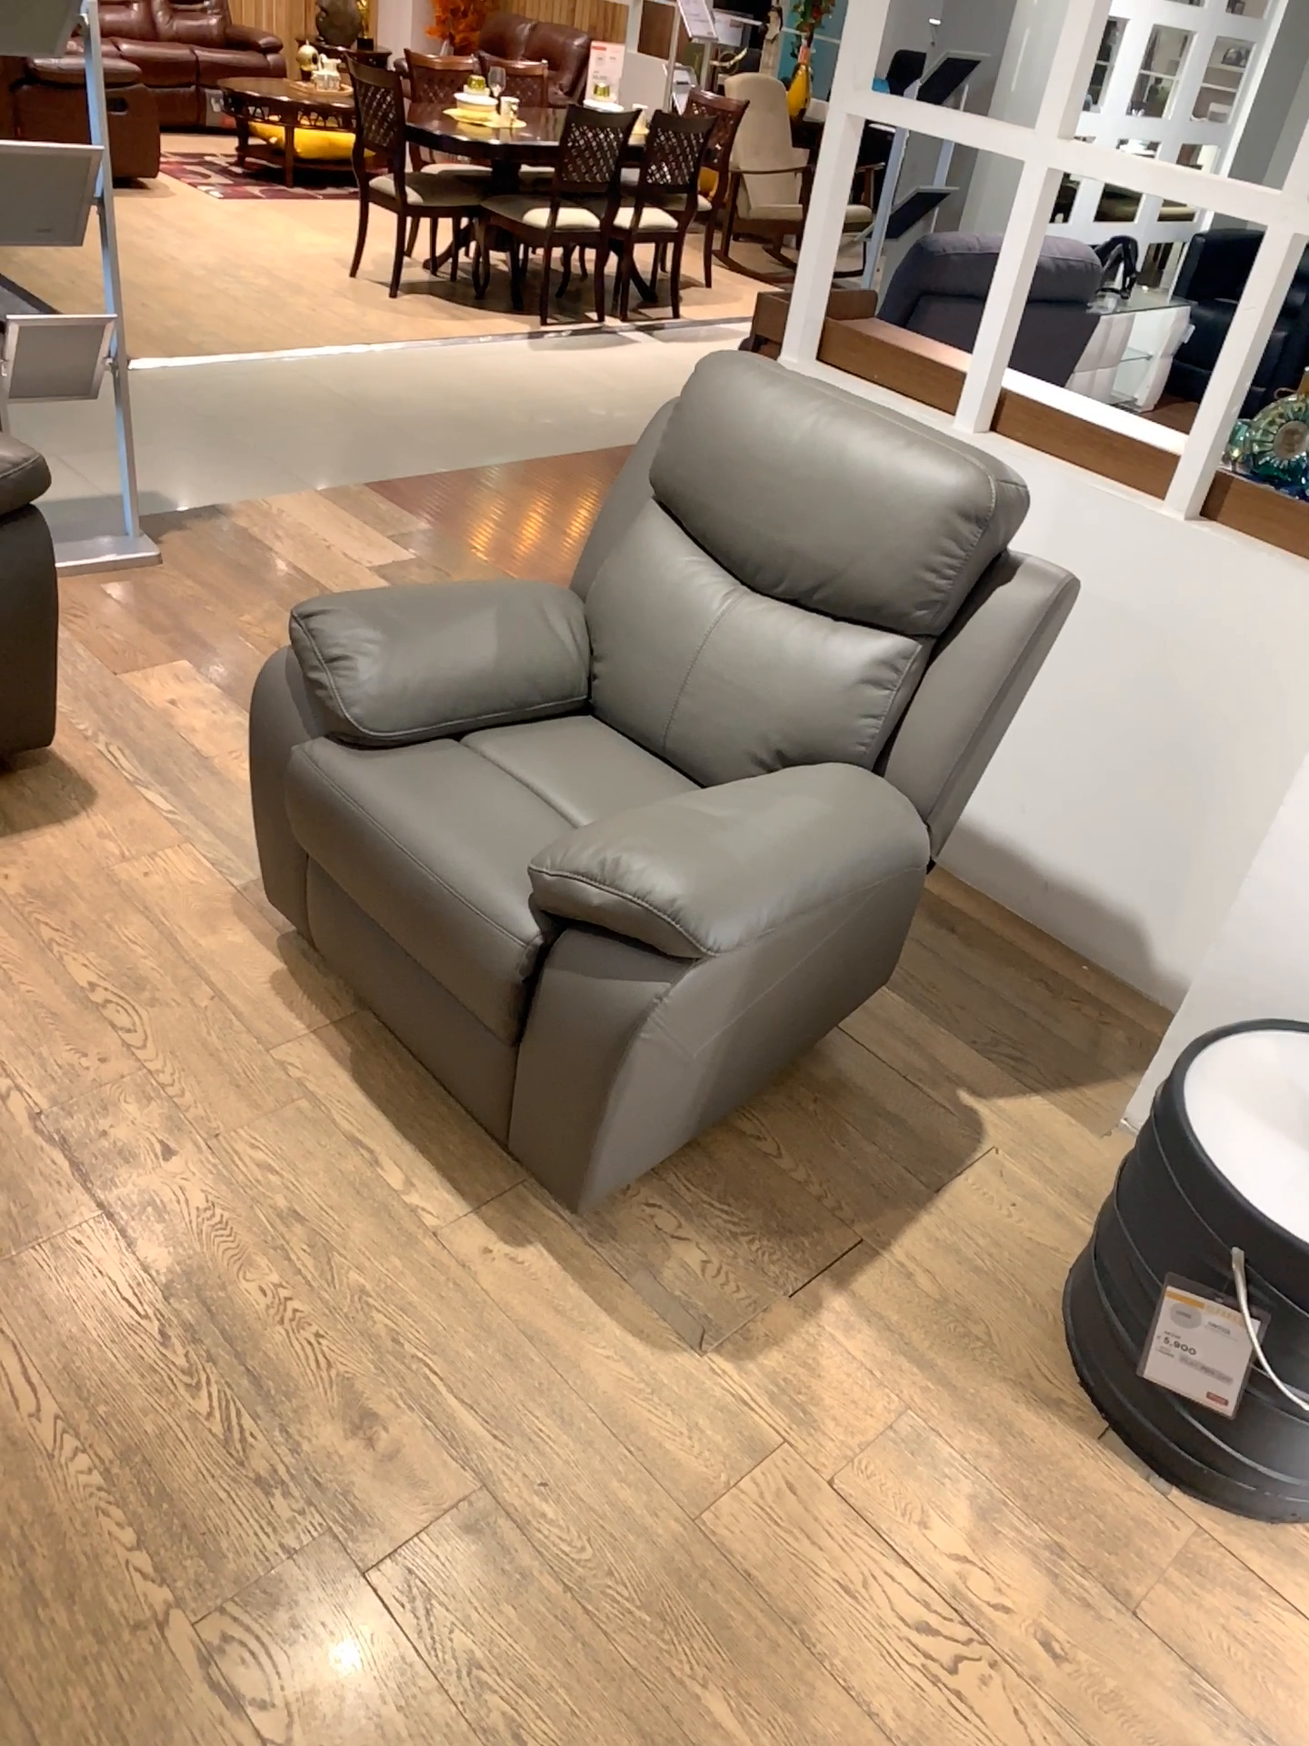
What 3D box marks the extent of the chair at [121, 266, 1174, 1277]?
[{"bbox_3d":[-0.072,-0.266,1.973,0.942,0.936,1.002,-22,46,-38],"label":"chair"}]
